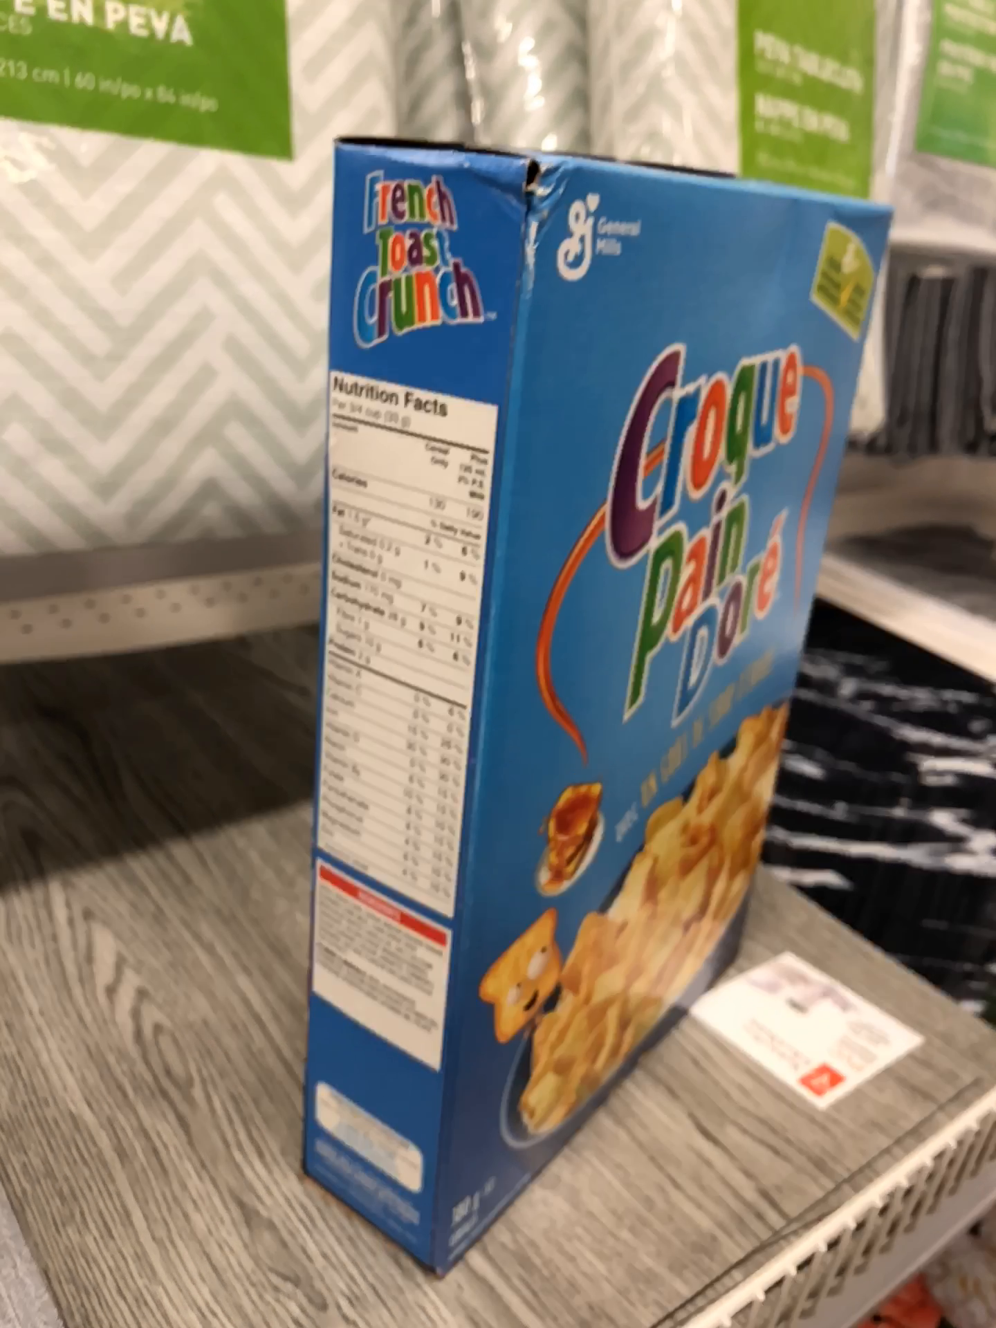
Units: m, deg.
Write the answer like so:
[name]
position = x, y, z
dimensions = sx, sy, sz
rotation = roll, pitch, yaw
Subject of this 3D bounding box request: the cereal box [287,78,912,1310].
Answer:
[cereal box]
position = 0.035, 0.000, 0.330
dimensions = 0.050, 0.279, 0.210
rotation = 19, 25, 31
